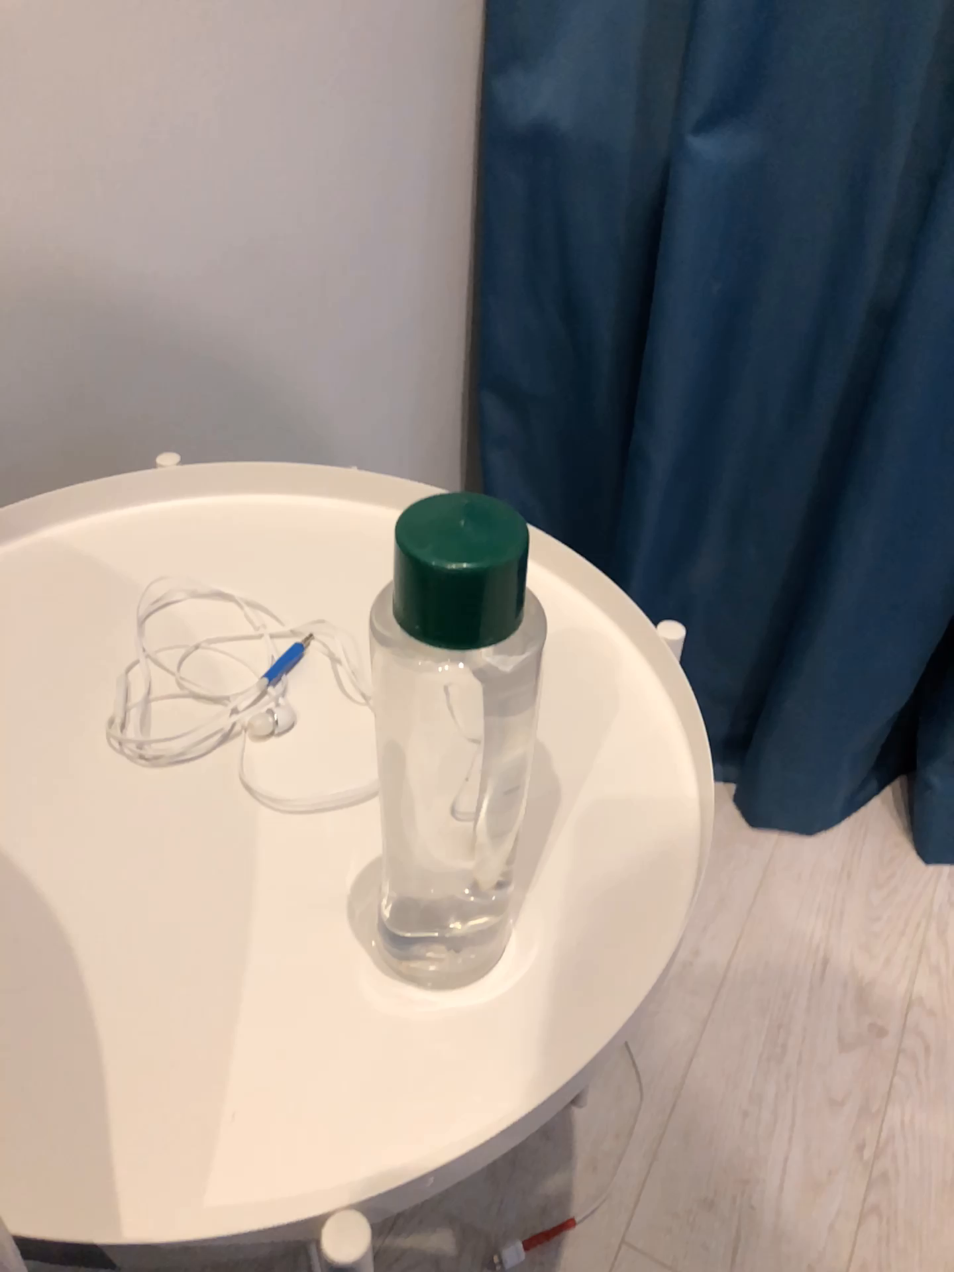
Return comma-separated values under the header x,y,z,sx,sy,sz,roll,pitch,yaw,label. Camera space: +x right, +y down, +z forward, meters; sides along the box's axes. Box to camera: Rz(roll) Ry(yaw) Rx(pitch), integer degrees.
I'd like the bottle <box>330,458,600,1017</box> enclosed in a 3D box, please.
x,y,z,sx,sy,sz,roll,pitch,yaw,label
-0.008,0.044,0.366,0.059,0.199,0.052,-23,46,-29,bottle
